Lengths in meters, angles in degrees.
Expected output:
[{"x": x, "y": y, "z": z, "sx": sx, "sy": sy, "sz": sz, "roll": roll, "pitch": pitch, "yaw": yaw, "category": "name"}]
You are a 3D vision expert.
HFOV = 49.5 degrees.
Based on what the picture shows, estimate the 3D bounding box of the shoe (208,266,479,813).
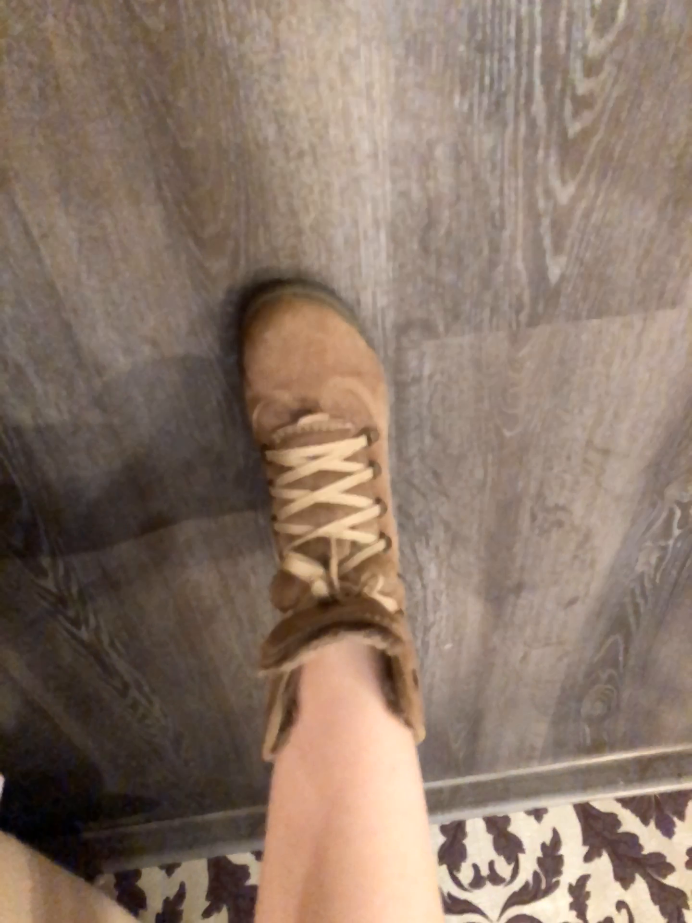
[{"x": -0.008, "y": 0.064, "z": 0.481, "sx": 0.110, "sy": 0.209, "sz": 0.291, "roll": -5, "pitch": 139, "yaw": -3, "category": "shoe"}]
